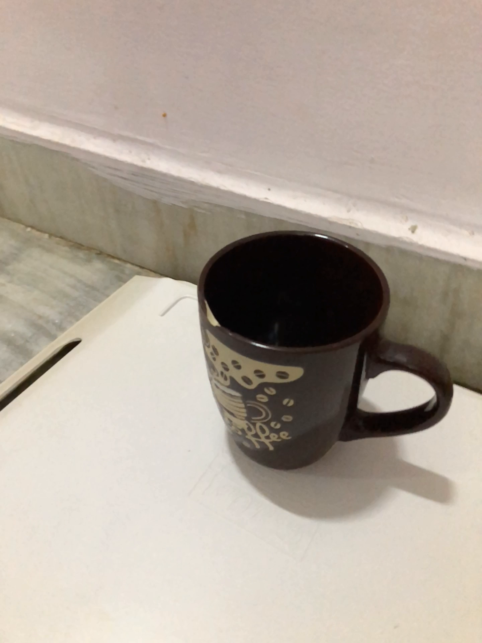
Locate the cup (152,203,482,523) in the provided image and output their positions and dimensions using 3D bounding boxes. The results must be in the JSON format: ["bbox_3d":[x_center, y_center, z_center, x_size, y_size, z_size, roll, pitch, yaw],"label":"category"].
[{"bbox_3d":[0.035,0.017,0.247,0.120,0.099,0.070,14,44,16],"label":"cup"}]
